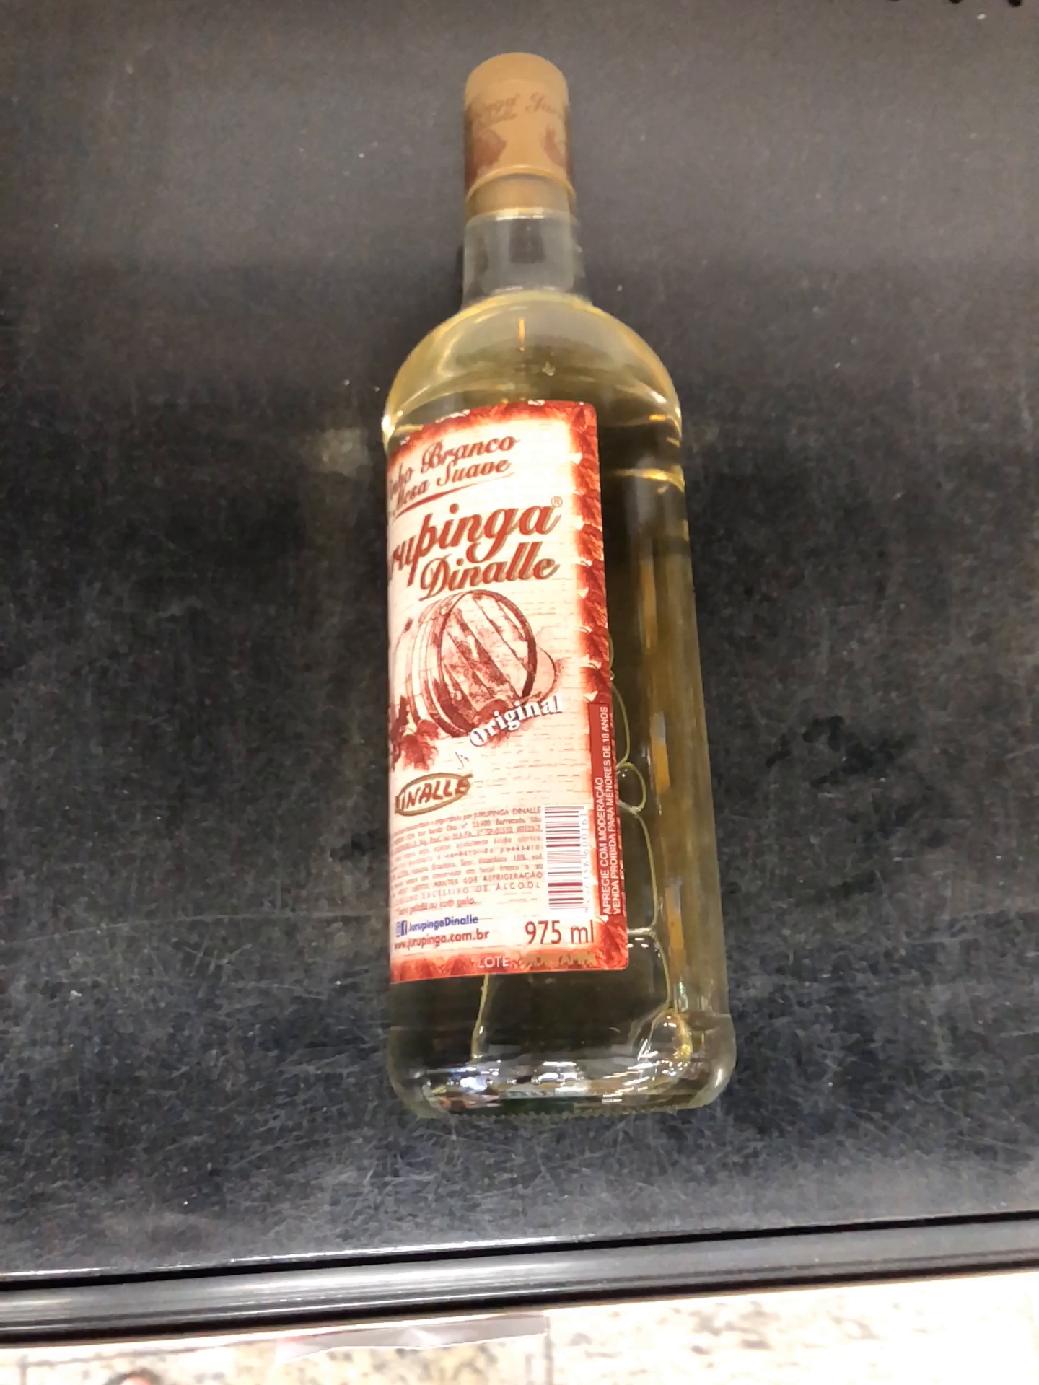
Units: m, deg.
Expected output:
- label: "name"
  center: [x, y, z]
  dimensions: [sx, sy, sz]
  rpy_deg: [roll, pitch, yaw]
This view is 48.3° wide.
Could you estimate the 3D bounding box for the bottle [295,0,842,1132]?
- label: "bottle"
  center: [0.006, -0.050, 0.309]
  dimensions: [0.100, 0.080, 0.300]
  rpy_deg: [9, 72, -37]
